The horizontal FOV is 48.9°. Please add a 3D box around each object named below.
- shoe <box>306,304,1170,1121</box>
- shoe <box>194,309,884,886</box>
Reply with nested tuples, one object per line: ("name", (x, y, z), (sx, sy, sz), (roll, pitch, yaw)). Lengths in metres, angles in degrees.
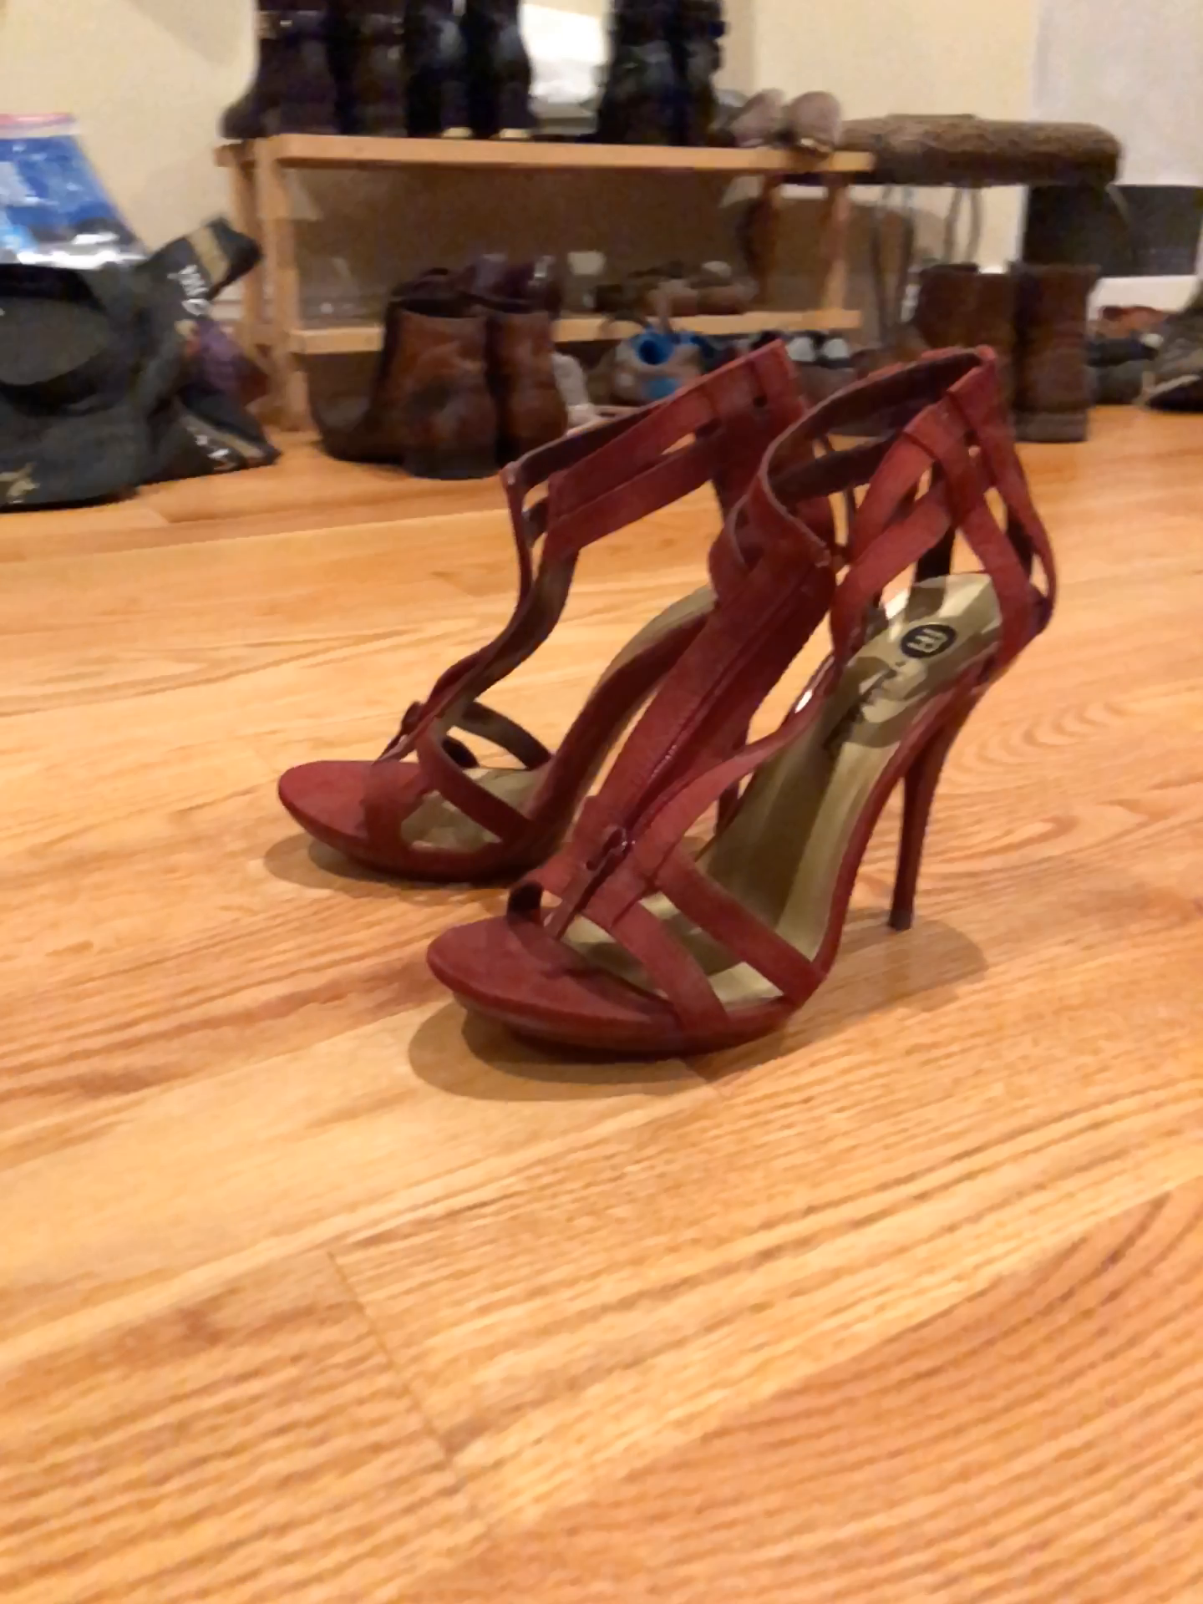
("shoe", (0.040, -0.040, 0.366), (0.207, 0.175, 0.085), (-13, 26, -29))
("shoe", (-0.019, -0.073, 0.454), (0.199, 0.175, 0.085), (-2, 23, -4))
